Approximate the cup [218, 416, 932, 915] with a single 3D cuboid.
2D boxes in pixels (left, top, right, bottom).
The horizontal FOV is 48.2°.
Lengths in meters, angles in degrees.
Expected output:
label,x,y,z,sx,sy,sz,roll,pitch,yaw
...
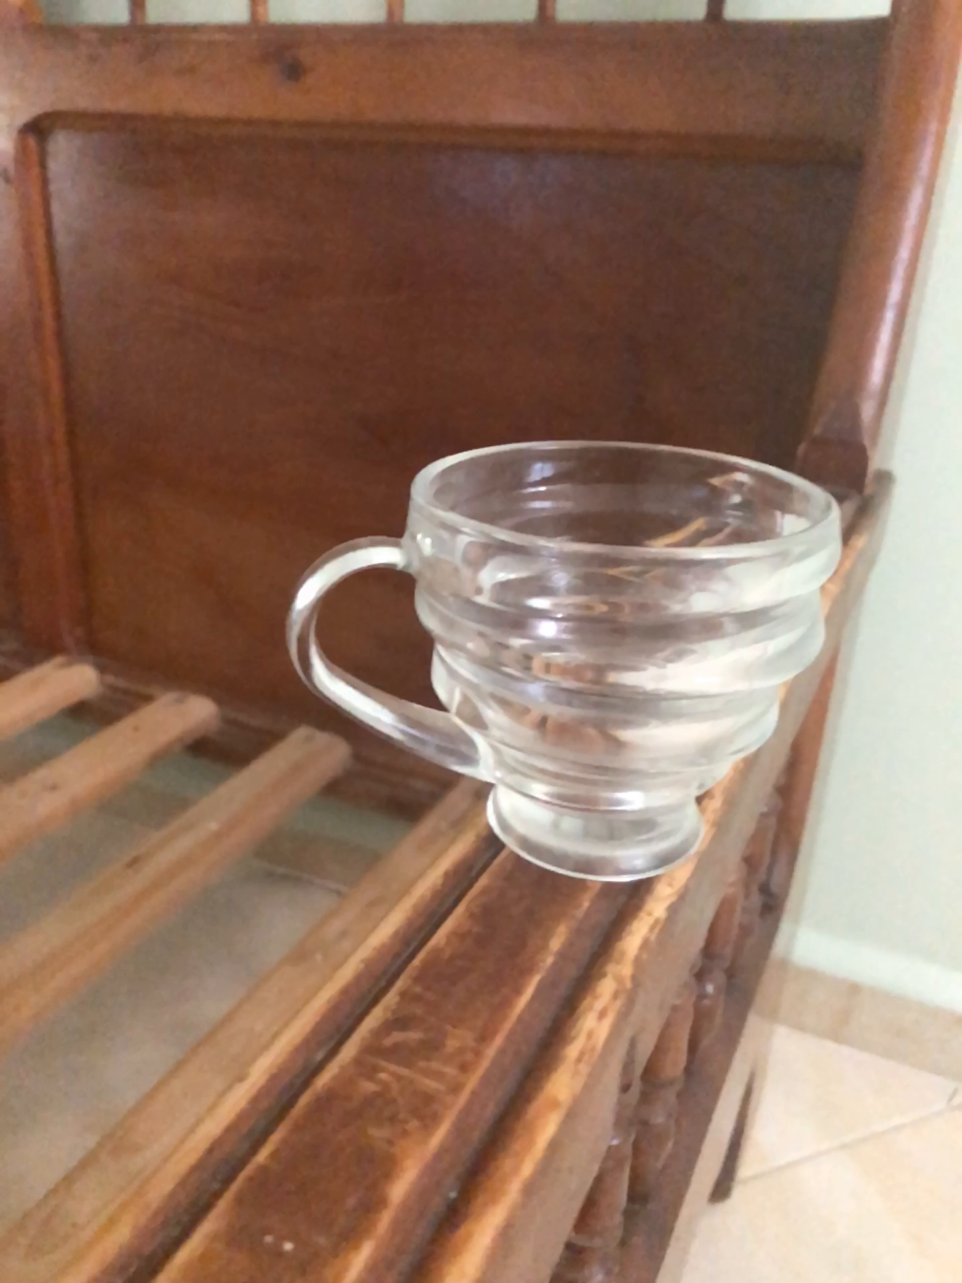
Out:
label,x,y,z,sx,sy,sz,roll,pitch,yaw
cup,0.013,0.000,0.206,0.105,0.065,0.076,2,23,-1
